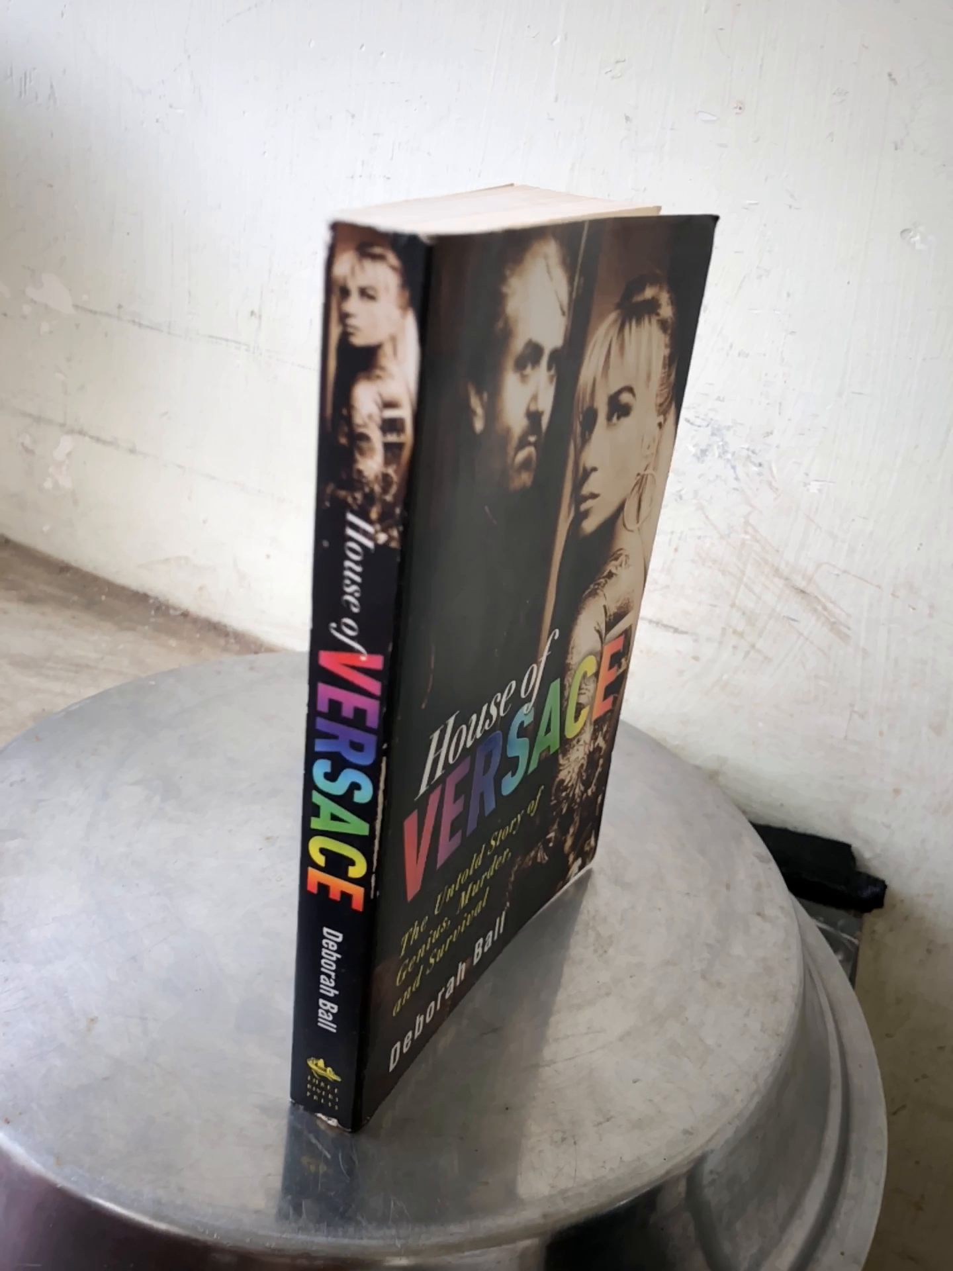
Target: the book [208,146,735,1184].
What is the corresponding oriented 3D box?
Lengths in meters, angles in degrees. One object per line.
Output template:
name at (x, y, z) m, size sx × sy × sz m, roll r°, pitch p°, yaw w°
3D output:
book at (0.006, -0.004, 0.291) m, size 0.040 × 0.219 × 0.181 m, roll 18°, pitch 25°, yaw 19°
